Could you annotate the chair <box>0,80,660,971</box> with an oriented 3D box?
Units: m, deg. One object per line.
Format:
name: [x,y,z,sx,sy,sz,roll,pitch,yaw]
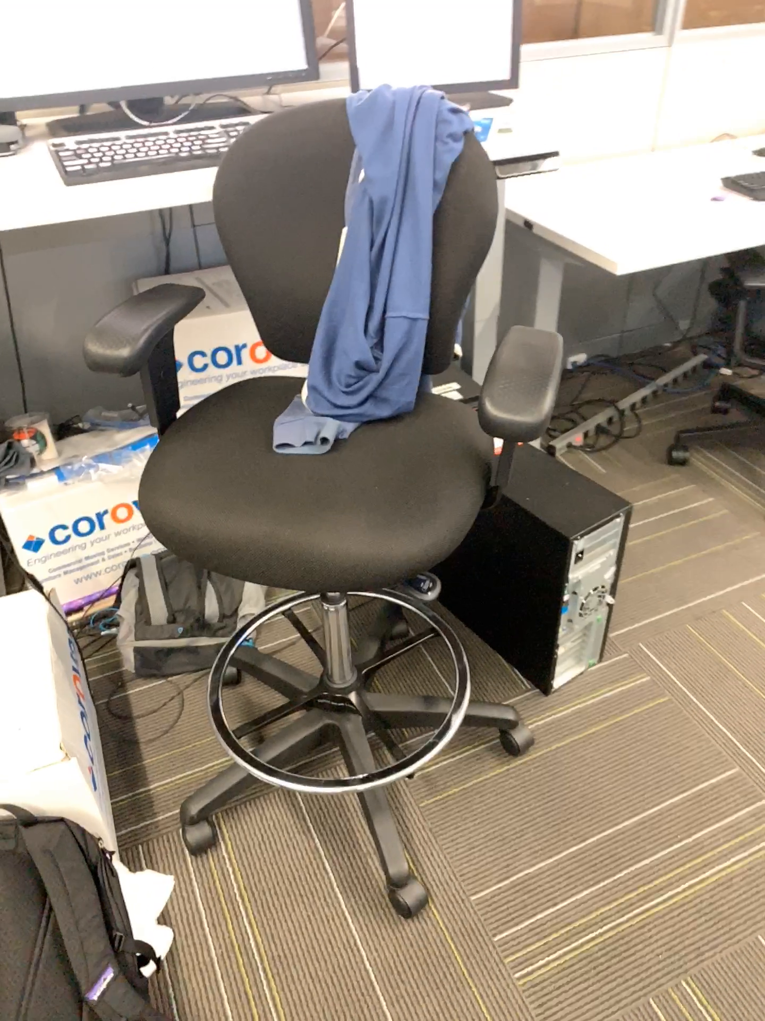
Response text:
chair: [-0.065,-0.037,1.308,0.741,1.063,0.844,12,39,18]
